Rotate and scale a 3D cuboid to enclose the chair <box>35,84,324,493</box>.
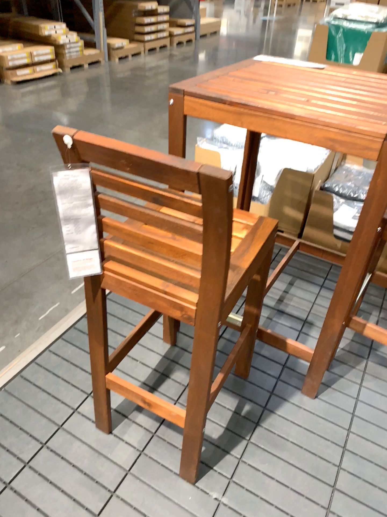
[{"bbox_3d":[-0.013,0.104,1.157,0.430,0.995,0.522,19,39,20],"label":"chair"}]
